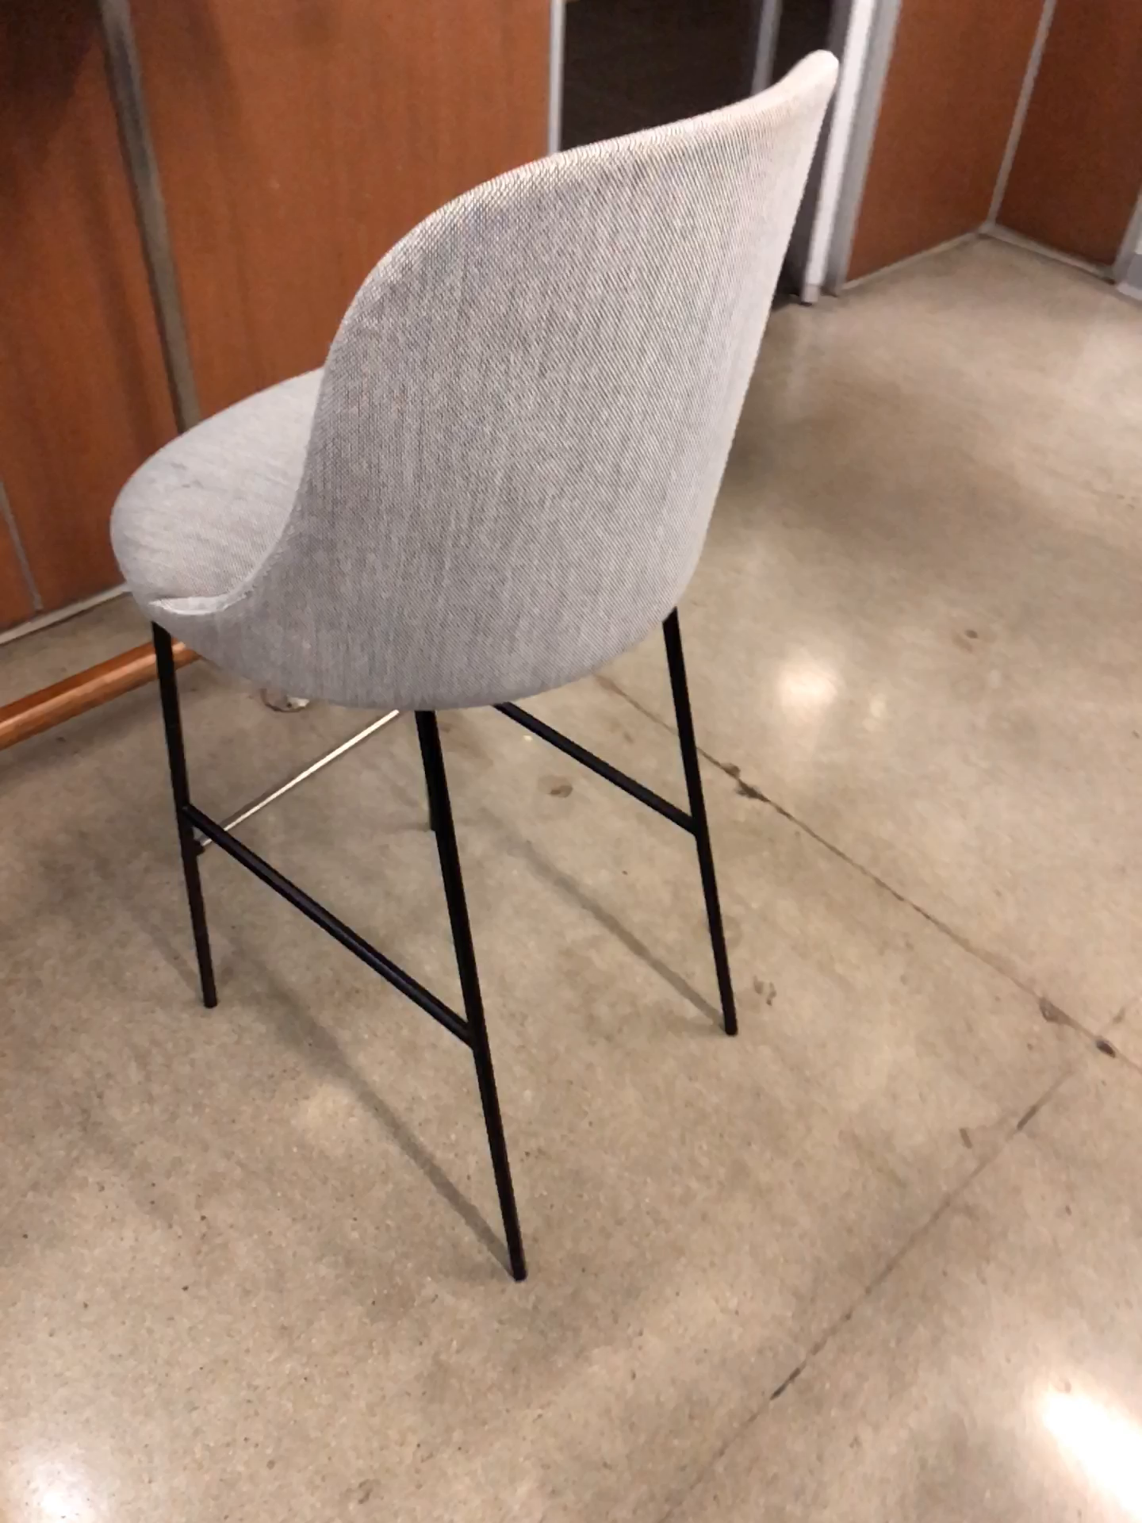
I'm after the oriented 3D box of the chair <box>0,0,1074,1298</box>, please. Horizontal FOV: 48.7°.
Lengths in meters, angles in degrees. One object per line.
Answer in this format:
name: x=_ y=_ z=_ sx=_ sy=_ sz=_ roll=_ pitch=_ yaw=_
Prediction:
chair: x=-0.112 y=-0.122 z=1.146 sx=0.621 sy=1.095 sz=0.461 roll=33 pitch=51 yaw=26
